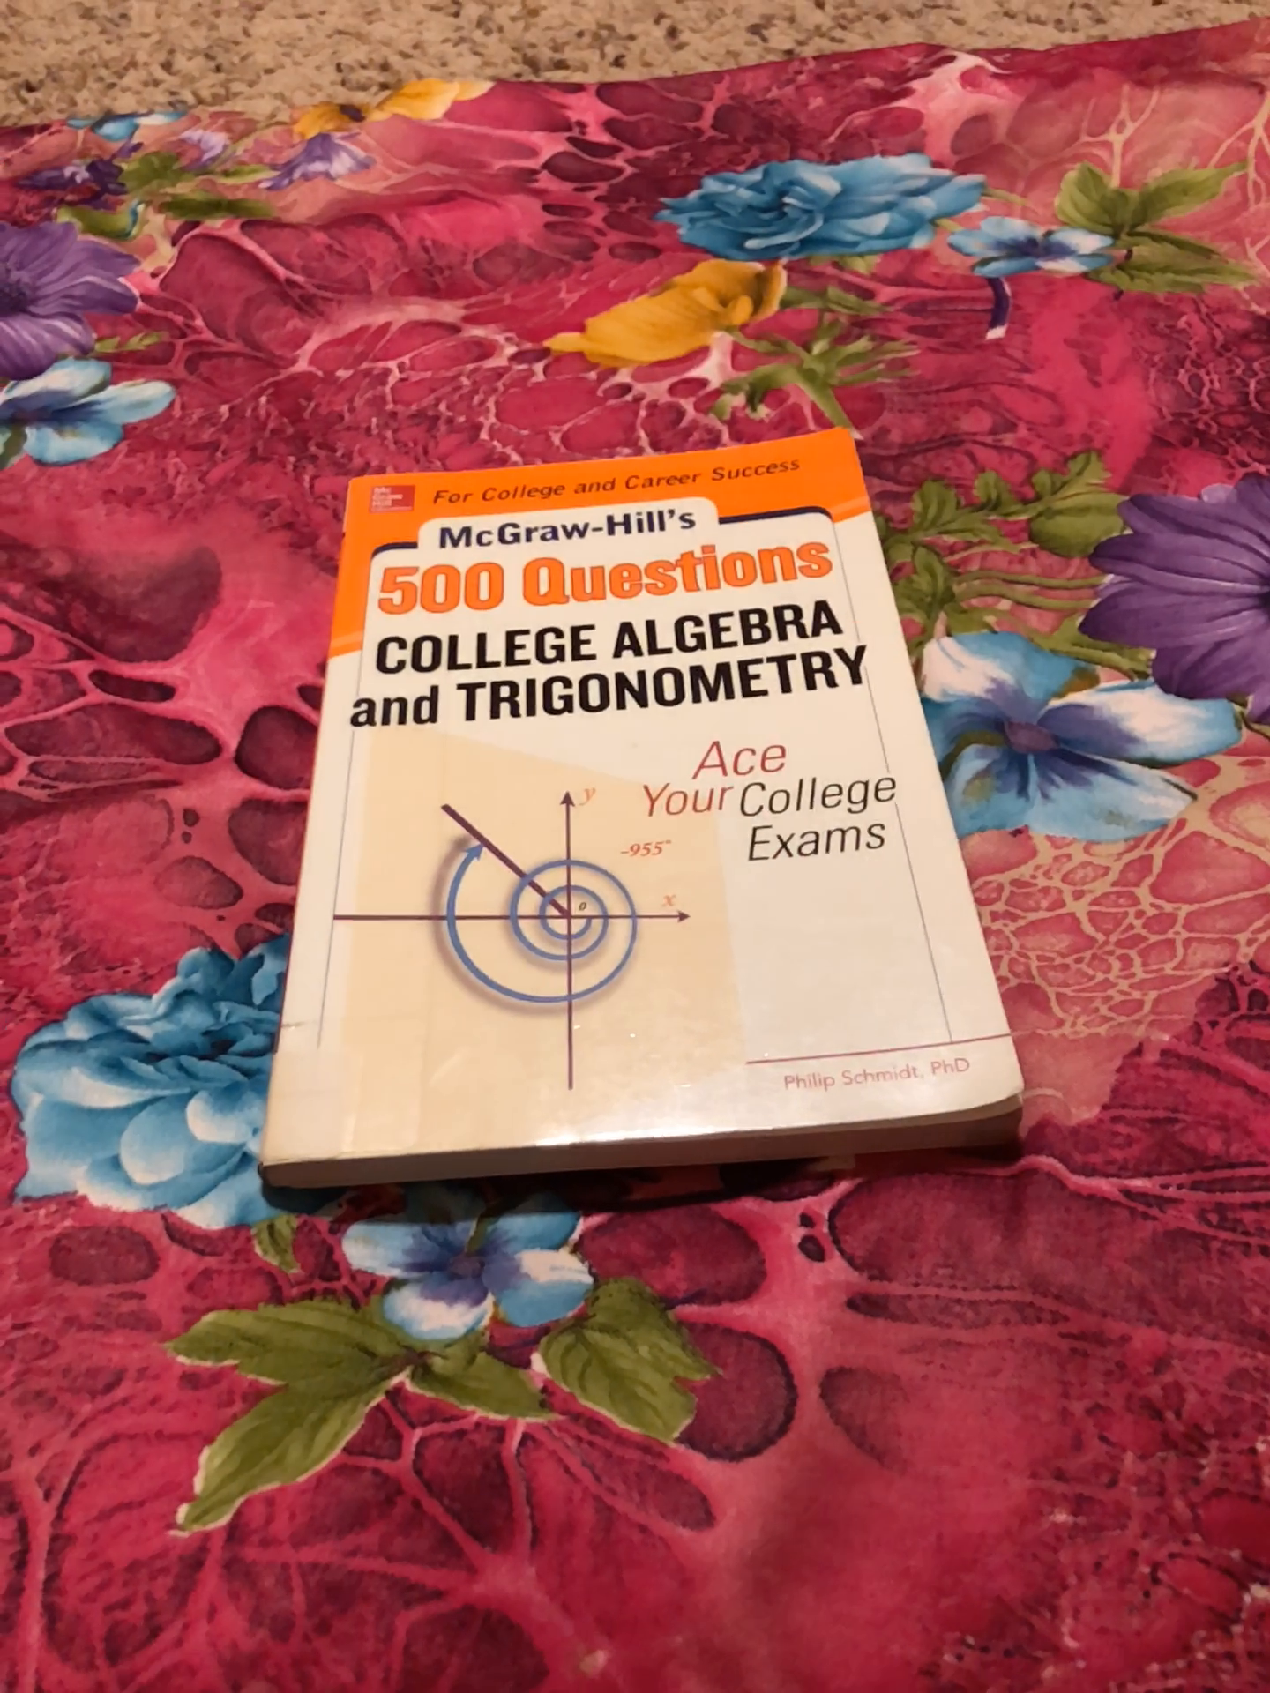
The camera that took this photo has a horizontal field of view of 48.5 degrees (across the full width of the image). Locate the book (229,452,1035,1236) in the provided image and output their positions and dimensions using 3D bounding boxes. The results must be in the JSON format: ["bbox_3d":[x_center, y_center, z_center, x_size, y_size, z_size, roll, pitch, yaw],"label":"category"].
[{"bbox_3d":[-0.005,-0.017,0.350,0.156,0.022,0.221,-4,51,0],"label":"book"}]
